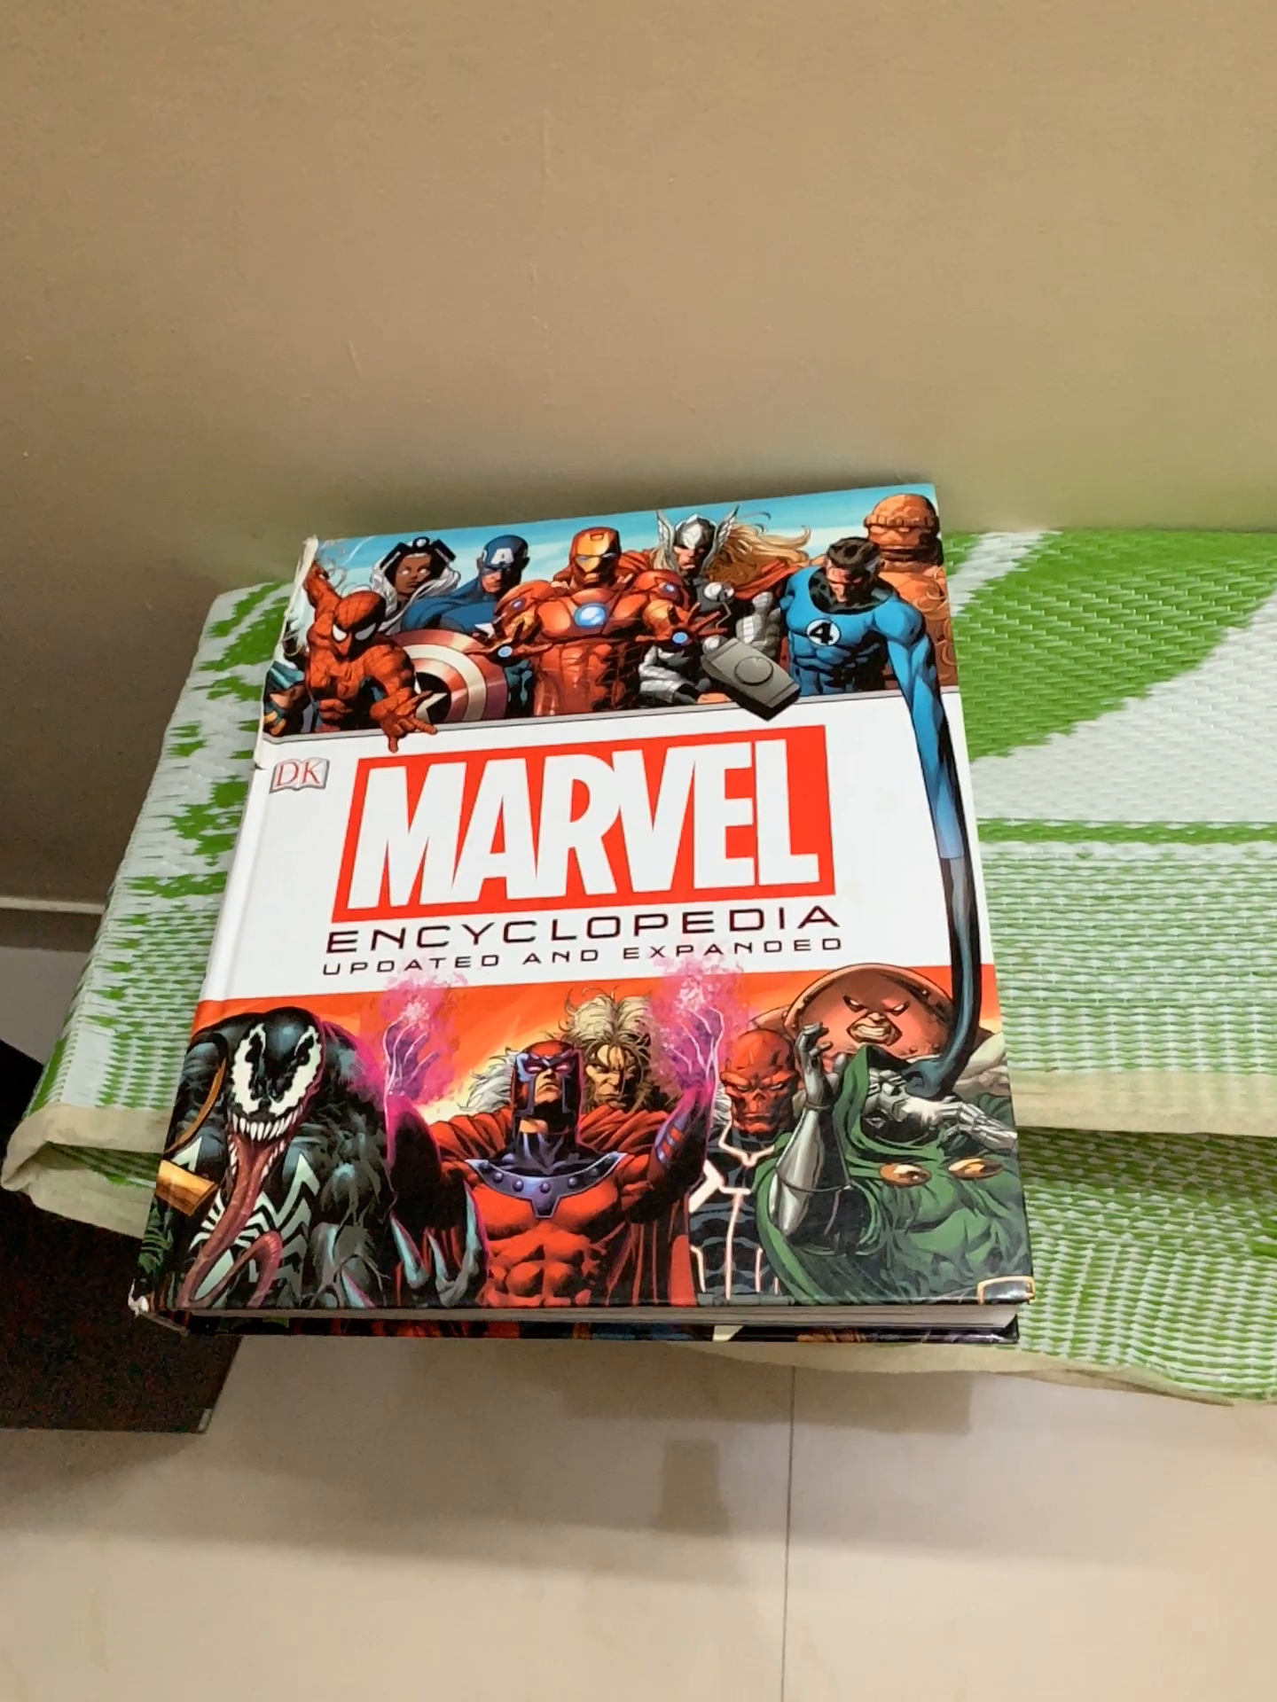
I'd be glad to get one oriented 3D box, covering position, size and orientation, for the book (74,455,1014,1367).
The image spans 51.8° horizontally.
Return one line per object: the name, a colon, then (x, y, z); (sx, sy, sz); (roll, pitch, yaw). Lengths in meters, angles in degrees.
book: (-0.023, 0.003, 0.454); (0.260, 0.040, 0.322); (-3, 59, 9)
